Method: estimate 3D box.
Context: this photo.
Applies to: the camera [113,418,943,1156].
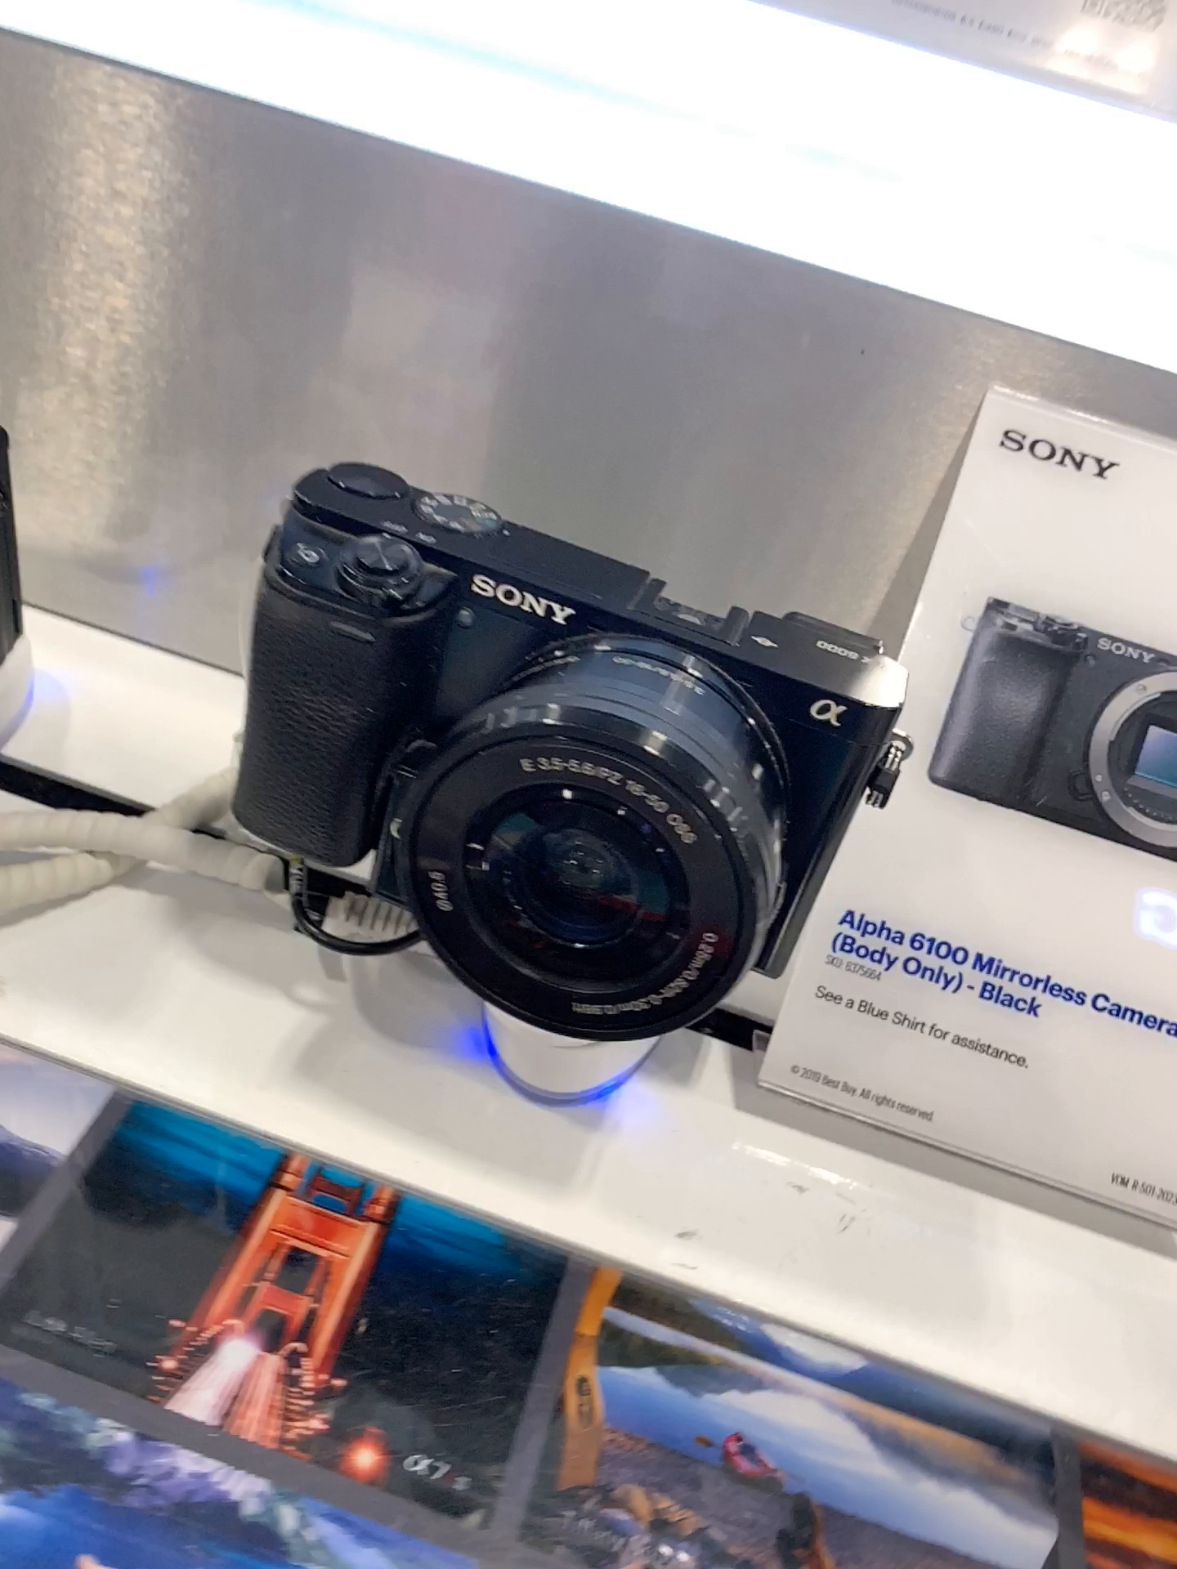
[{"bbox_3d":[-0.009,-0.004,0.218,0.120,0.074,0.066,20,30,6],"label":"camera"}]
